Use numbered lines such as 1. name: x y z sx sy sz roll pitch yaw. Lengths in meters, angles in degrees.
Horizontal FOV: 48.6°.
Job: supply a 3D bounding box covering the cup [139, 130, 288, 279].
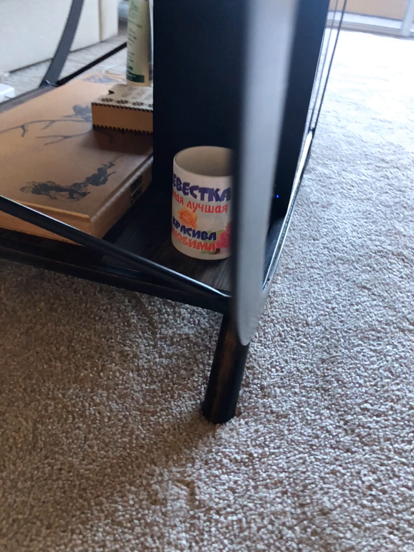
1. cup: 0.007 -0.086 0.510 0.090 0.099 0.140 28 41 28
